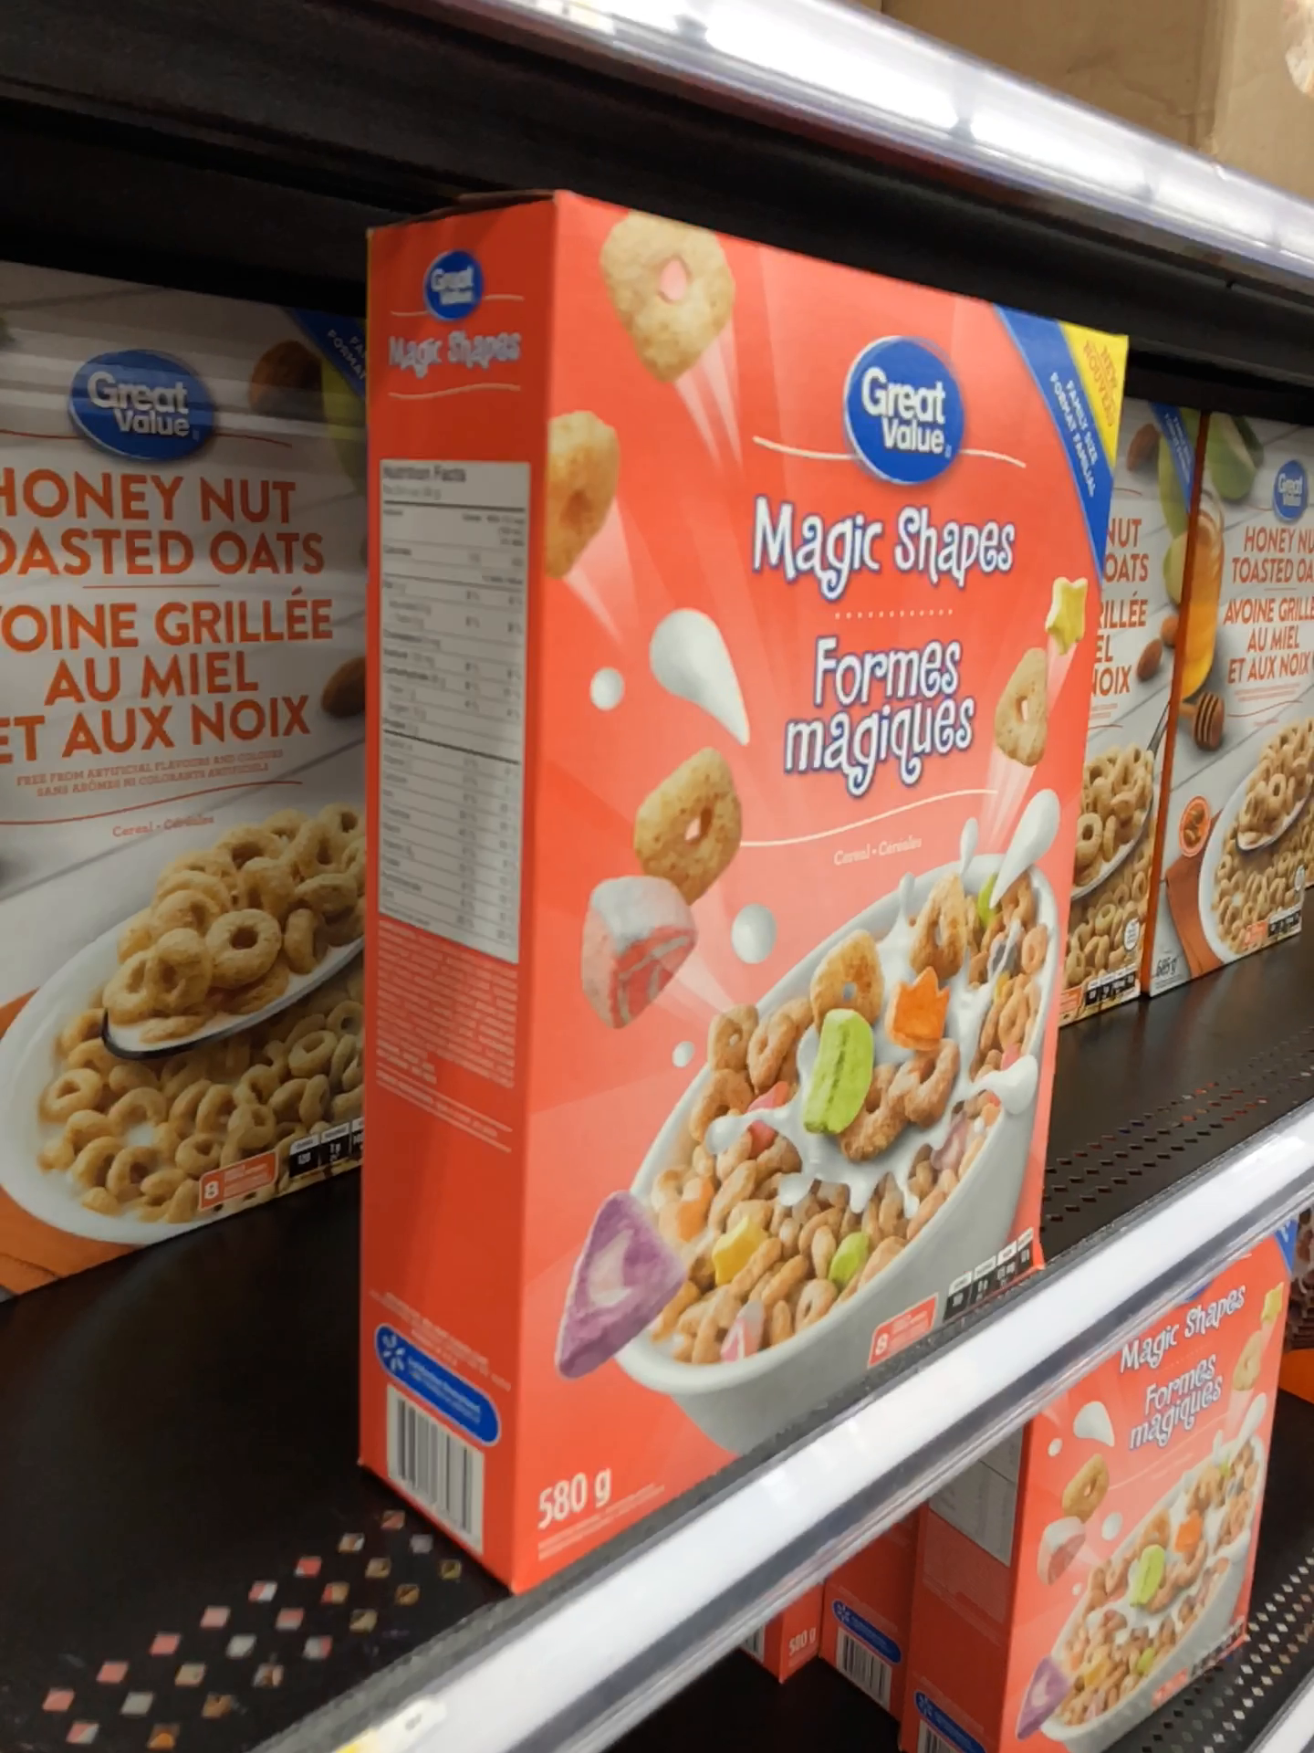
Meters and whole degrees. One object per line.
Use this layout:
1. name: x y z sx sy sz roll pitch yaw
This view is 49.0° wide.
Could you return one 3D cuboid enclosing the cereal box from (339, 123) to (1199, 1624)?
1. cereal box: 0.041 -0.008 0.412 0.070 0.318 0.261 16 19 42
